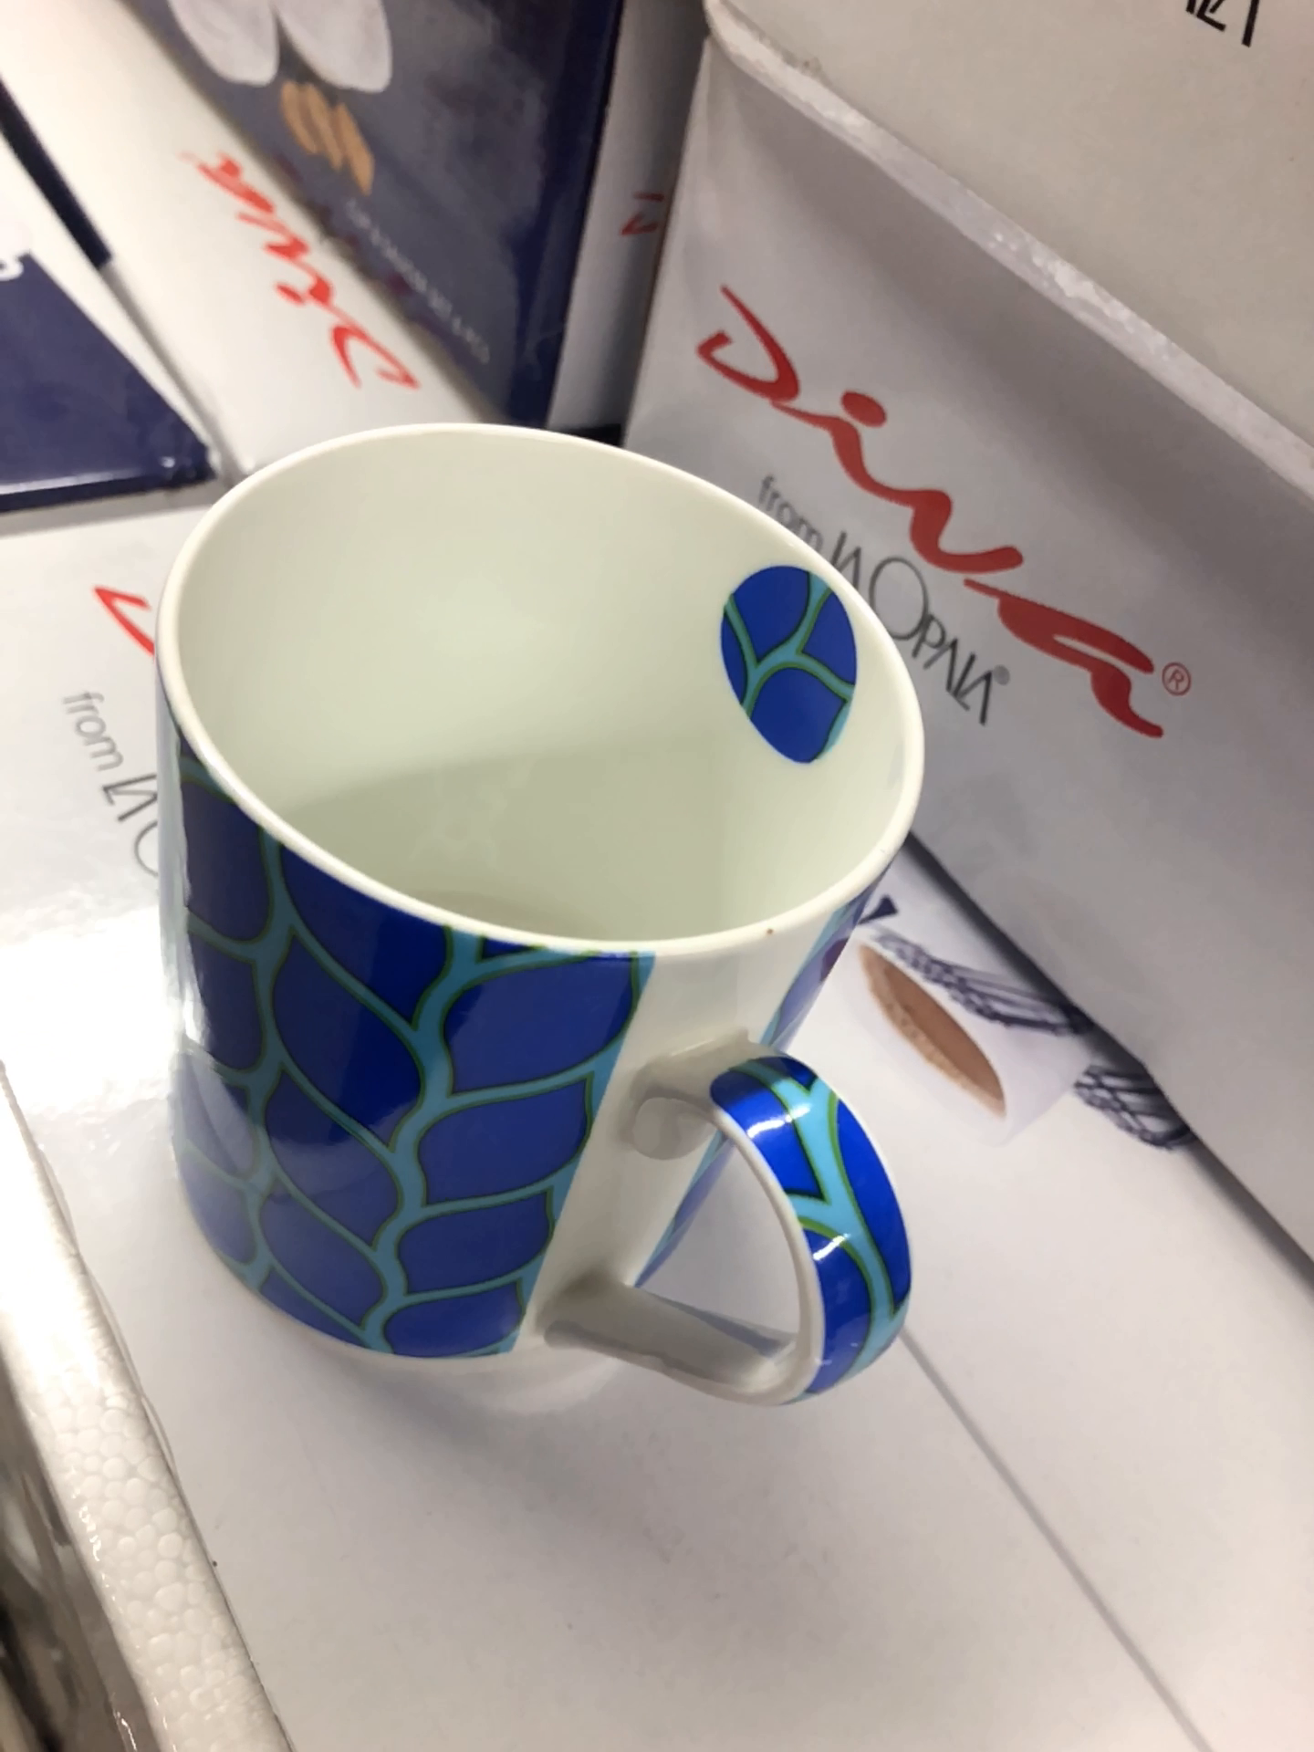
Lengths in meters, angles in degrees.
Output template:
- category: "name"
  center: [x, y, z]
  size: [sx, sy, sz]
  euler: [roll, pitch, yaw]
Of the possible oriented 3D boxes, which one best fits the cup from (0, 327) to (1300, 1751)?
- category: "cup"
  center: [-0.016, 0.012, 0.176]
  size: [0.080, 0.089, 0.120]
  euler: [-21, 58, -31]
